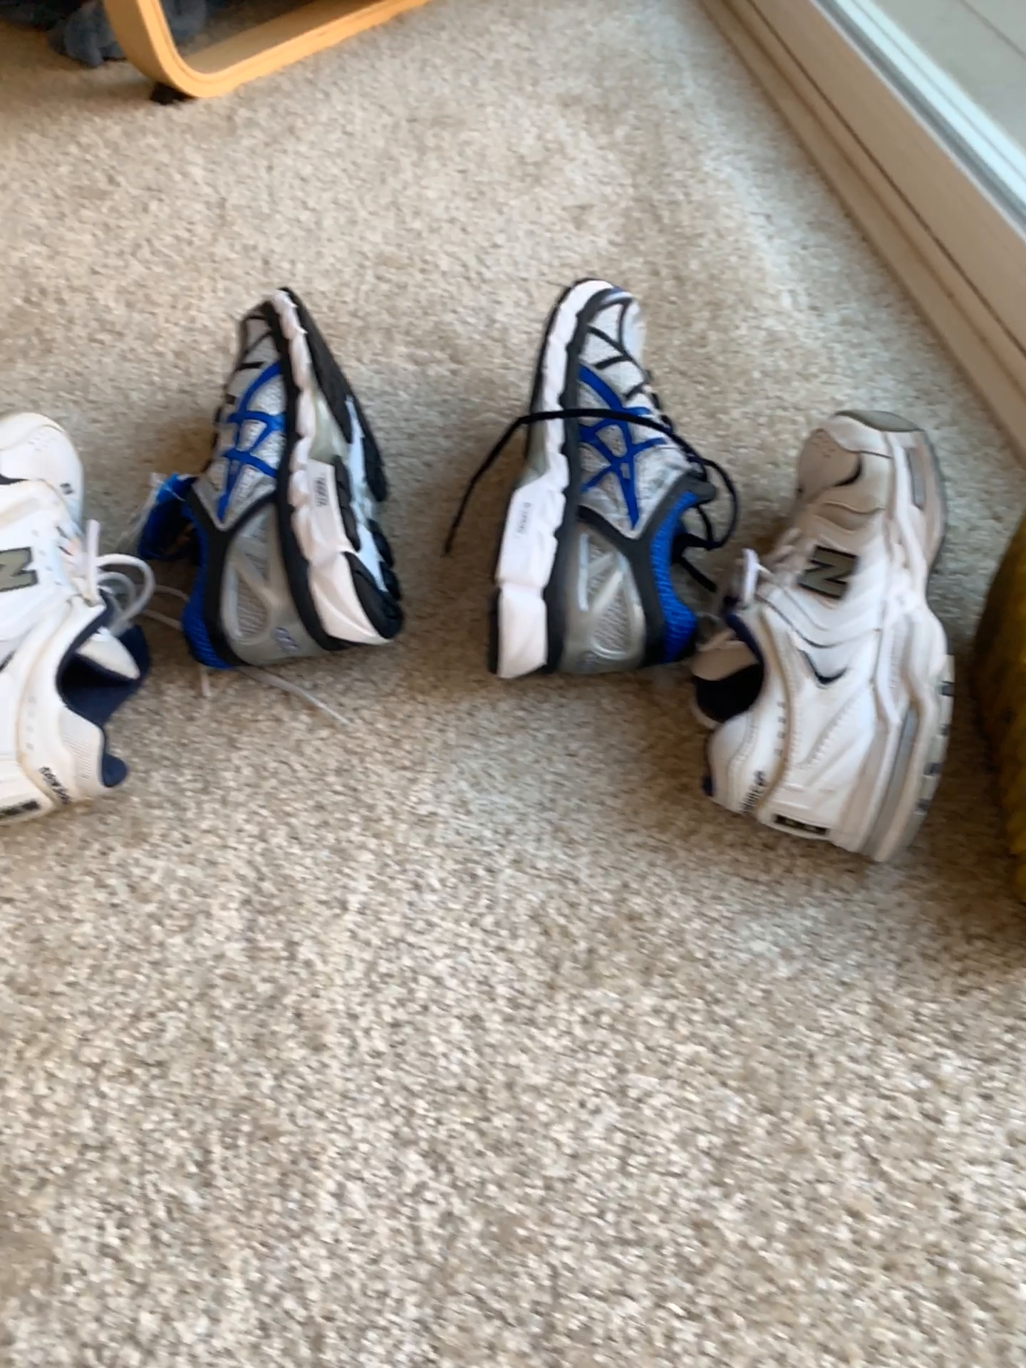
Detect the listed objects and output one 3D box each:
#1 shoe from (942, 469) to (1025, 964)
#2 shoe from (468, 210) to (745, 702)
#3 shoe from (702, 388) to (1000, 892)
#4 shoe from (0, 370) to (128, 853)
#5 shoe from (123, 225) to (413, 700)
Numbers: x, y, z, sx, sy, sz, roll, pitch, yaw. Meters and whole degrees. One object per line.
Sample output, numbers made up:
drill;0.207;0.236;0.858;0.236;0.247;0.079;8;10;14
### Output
shoe;0.299;0.016;0.532;0.110;0.100;0.221;4;65;2
shoe;0.054;-0.138;0.595;0.120;0.119;0.271;7;50;2
shoe;0.158;-0.033;0.501;0.090;0.090;0.231;14;47;6
shoe;-0.262;-0.041;0.526;0.100;0.119;0.201;-8;52;-7
shoe;-0.140;-0.138;0.606;0.130;0.070;0.281;-8;59;-3
